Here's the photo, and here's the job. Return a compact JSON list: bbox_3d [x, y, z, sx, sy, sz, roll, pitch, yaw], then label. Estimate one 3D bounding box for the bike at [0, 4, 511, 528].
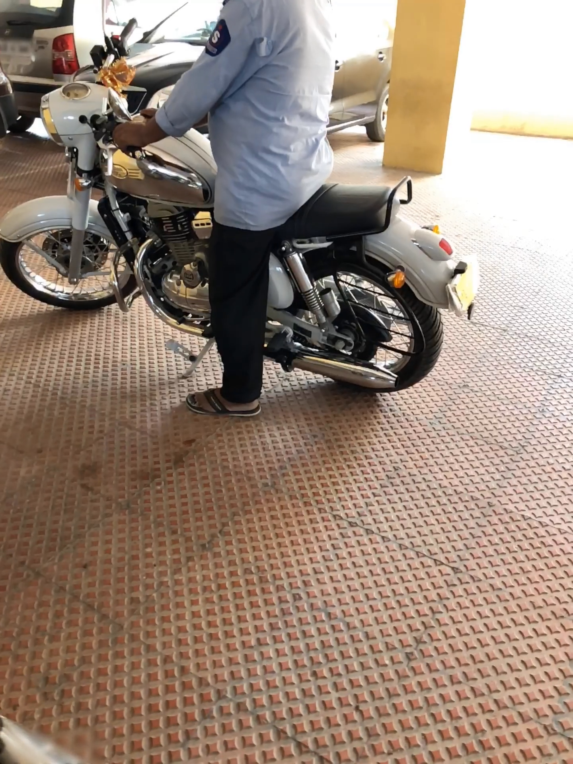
[{"bbox_3d":[-0.432,-0.510,2.115,1.897,1.233,0.849,14,33,19],"label":"bike"}]
